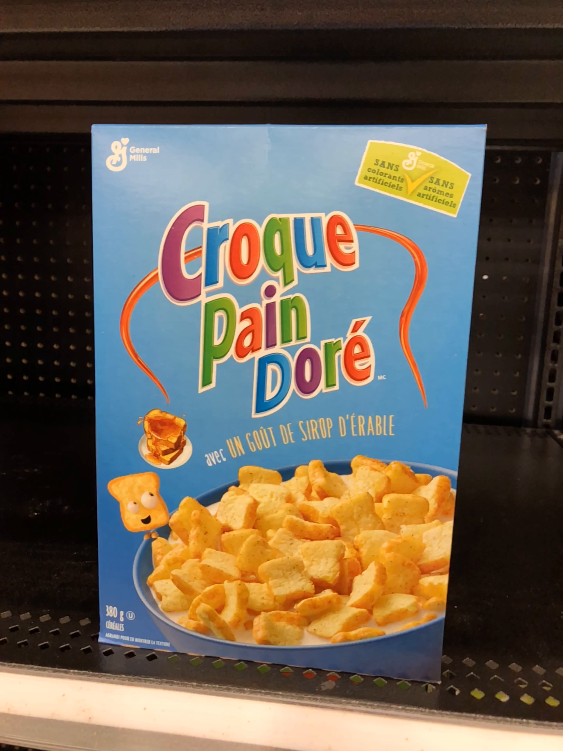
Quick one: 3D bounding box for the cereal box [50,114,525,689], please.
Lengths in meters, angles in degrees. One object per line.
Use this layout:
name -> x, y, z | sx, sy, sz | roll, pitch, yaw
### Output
cereal box -> -0.002, 0.012, 0.328 | 0.210, 0.269, 0.060 | 3, 11, 8
